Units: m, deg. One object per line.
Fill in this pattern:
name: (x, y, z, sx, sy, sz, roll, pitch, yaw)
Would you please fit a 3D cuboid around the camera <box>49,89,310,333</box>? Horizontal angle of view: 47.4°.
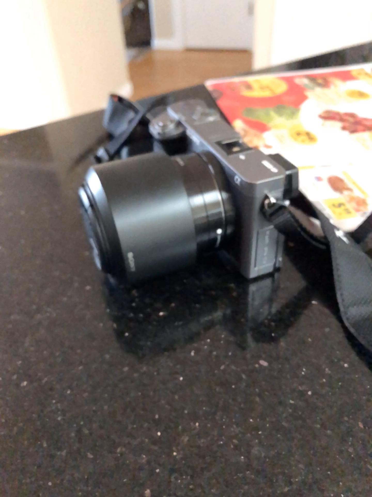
camera: (-0.012, -0.035, 0.266, 0.110, 0.070, 0.131, -17, 41, -16)
